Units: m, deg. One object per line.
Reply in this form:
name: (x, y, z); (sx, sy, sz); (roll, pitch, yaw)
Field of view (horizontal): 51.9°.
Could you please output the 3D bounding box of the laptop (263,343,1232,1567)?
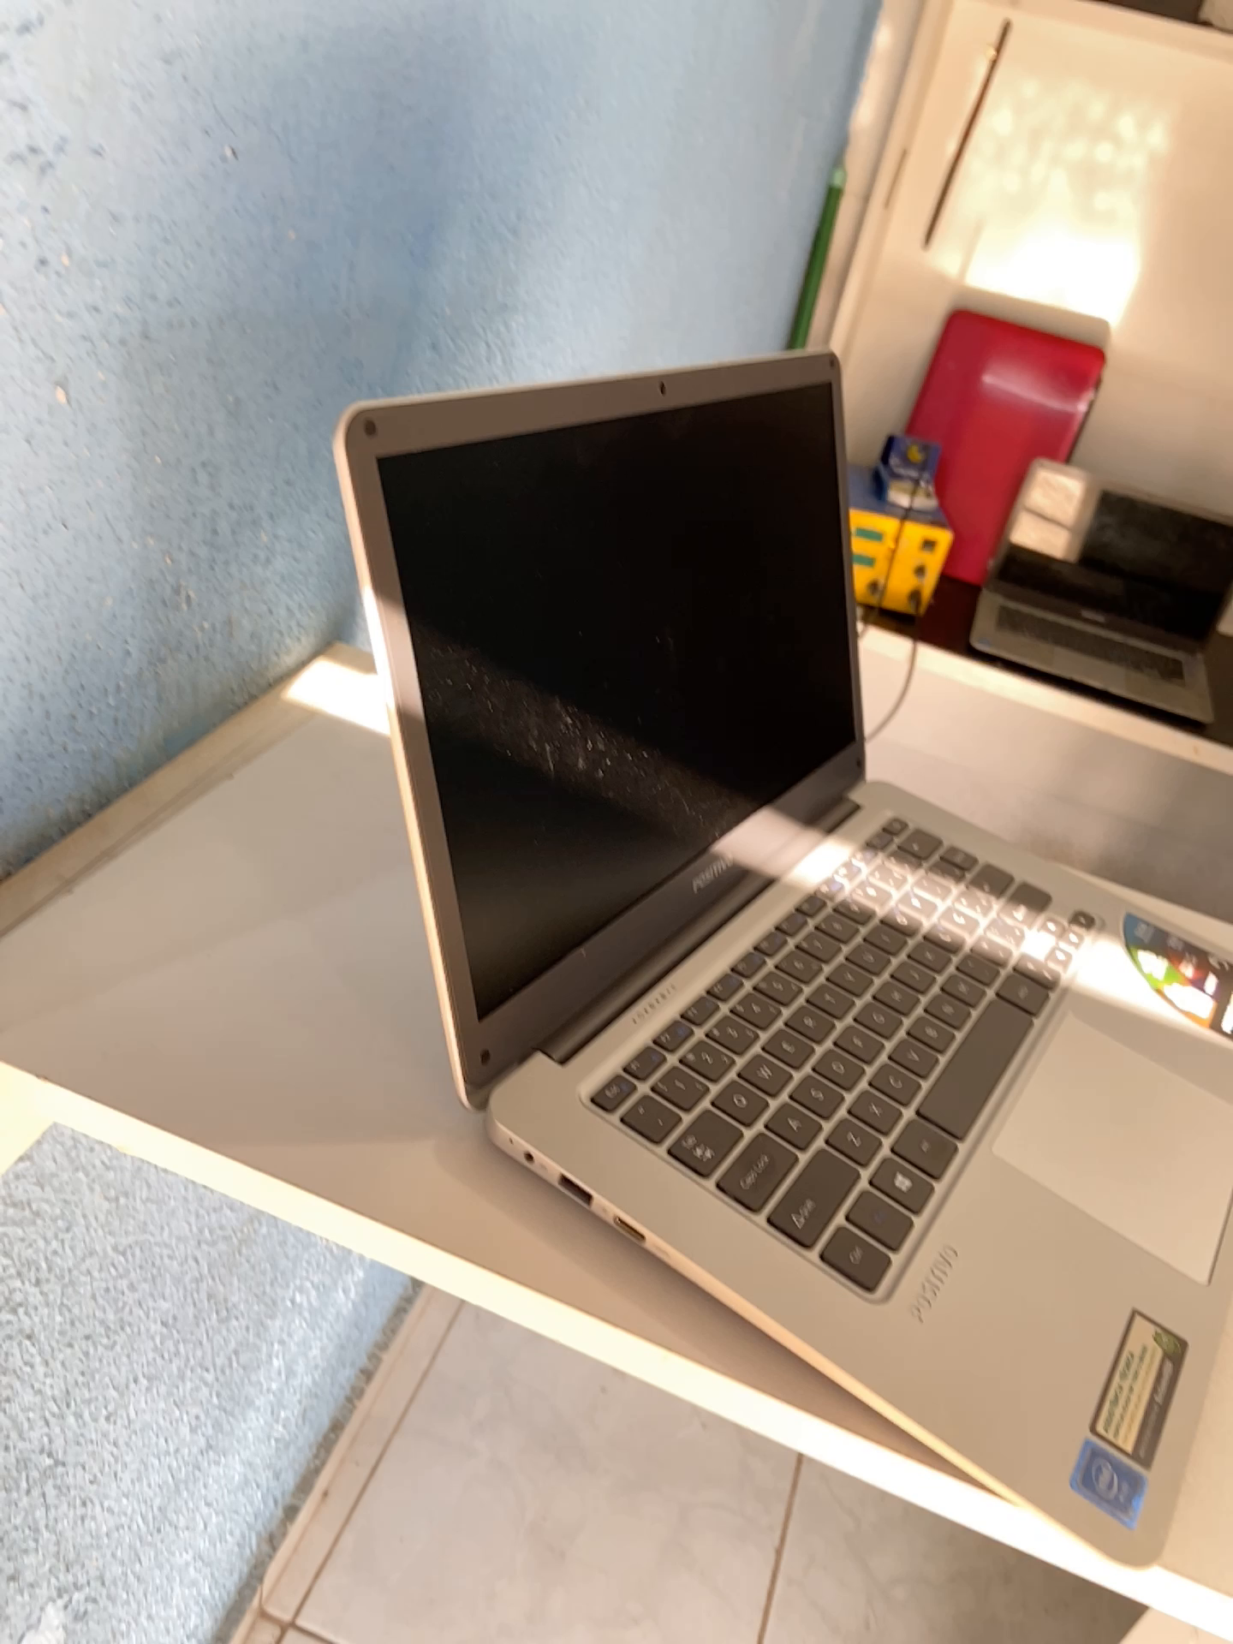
laptop: (0.116, -0.019, 0.455); (0.311, 0.189, 0.334); (28, 33, 21)
